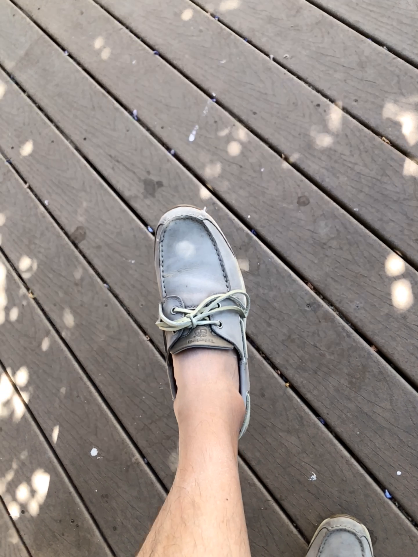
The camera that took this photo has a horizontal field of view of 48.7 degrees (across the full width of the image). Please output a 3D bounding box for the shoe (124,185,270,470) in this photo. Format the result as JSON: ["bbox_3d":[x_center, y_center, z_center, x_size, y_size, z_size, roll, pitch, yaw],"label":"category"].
[{"bbox_3d":[-0.013,0.058,0.560,0.115,0.085,0.306,-10,84,17],"label":"shoe"}]
